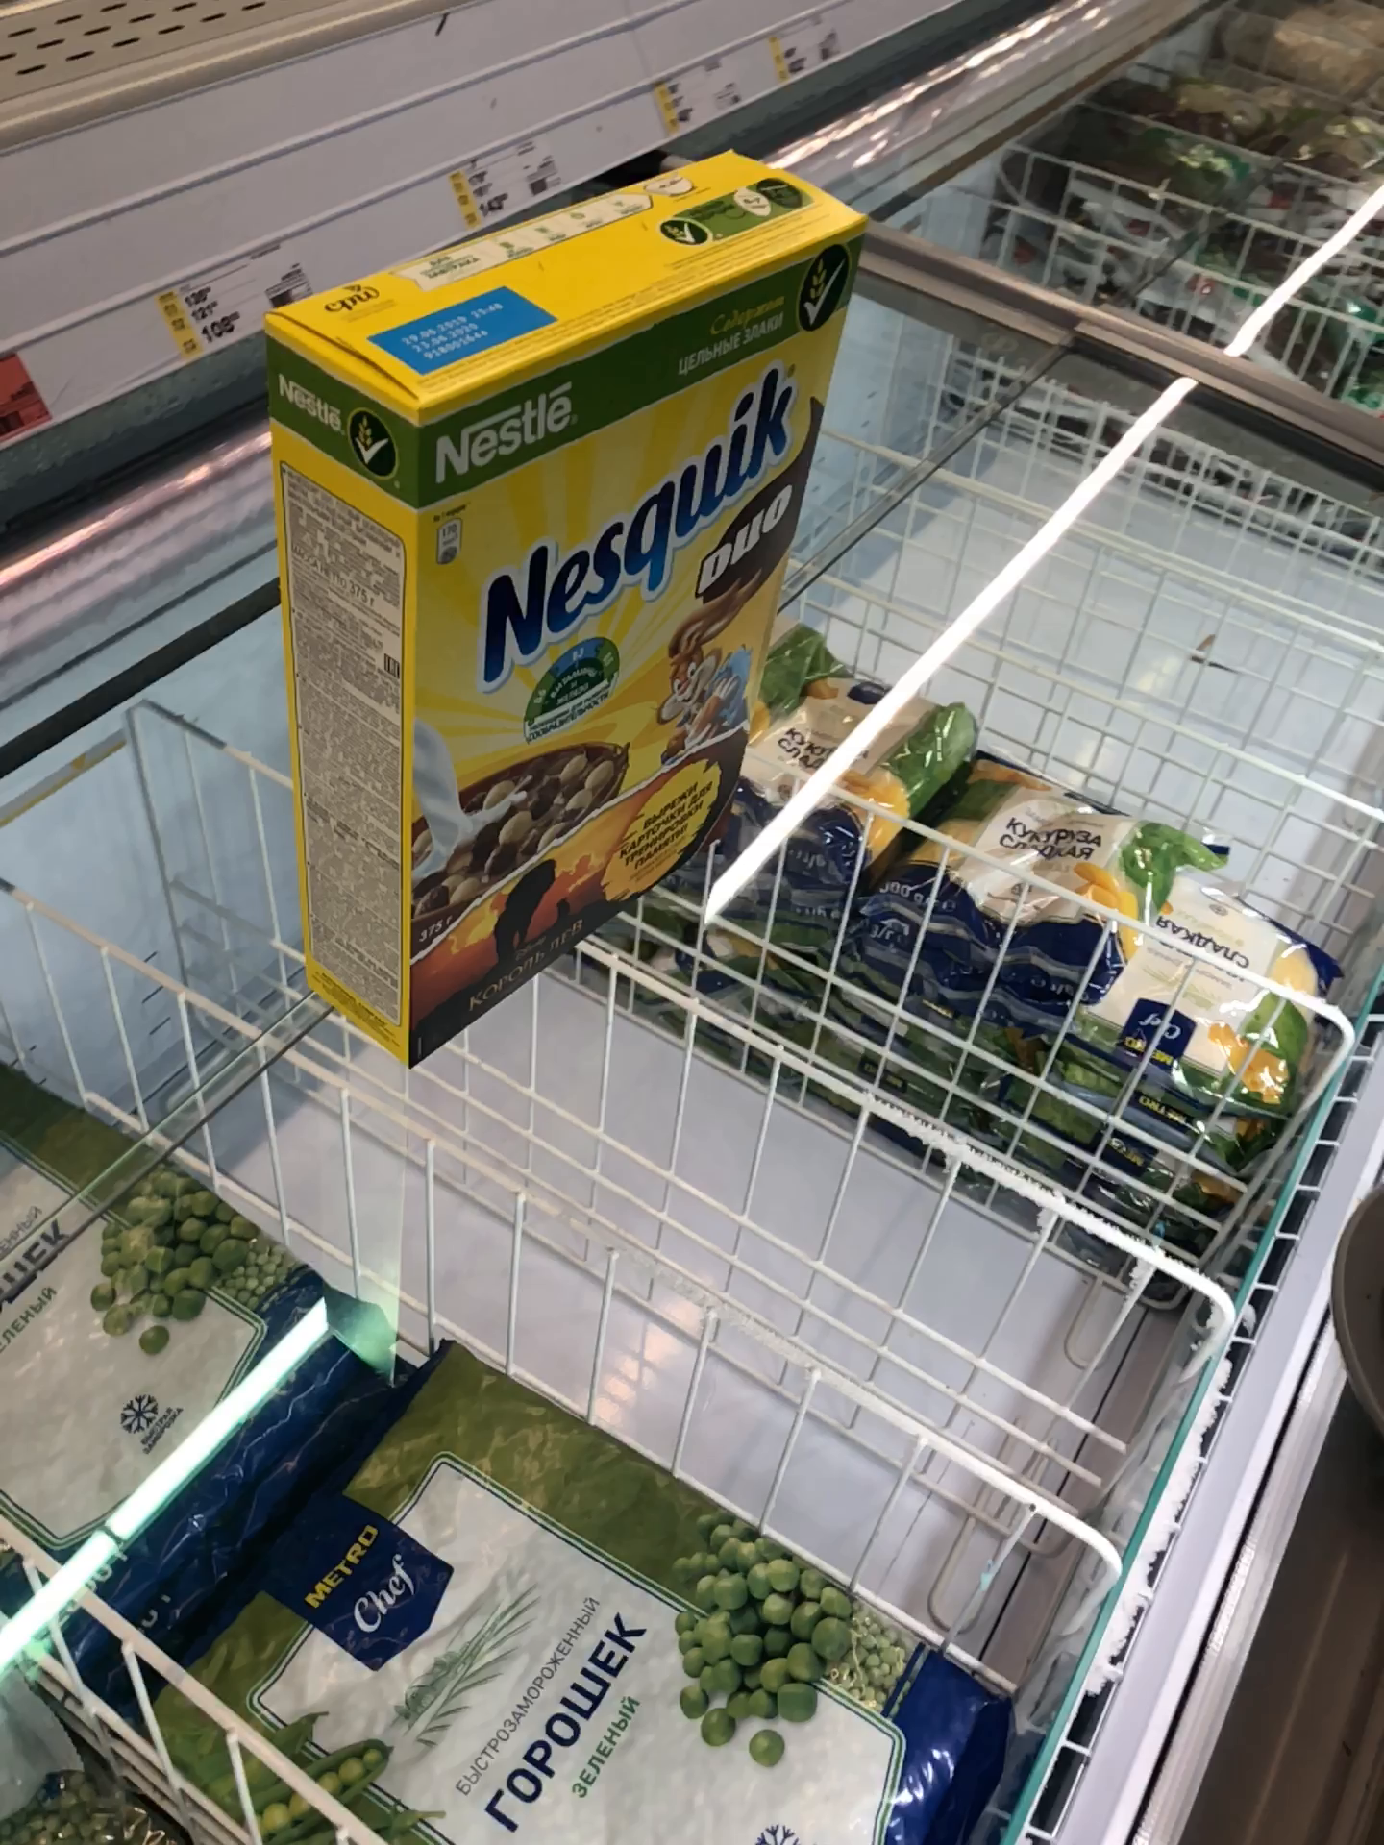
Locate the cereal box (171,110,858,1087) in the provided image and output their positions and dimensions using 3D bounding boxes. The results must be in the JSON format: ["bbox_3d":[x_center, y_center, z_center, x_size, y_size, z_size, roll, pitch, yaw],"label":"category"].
[{"bbox_3d":[-0.057,-0.102,0.528,0.070,0.278,0.201,36,52,21],"label":"cereal box"}]
